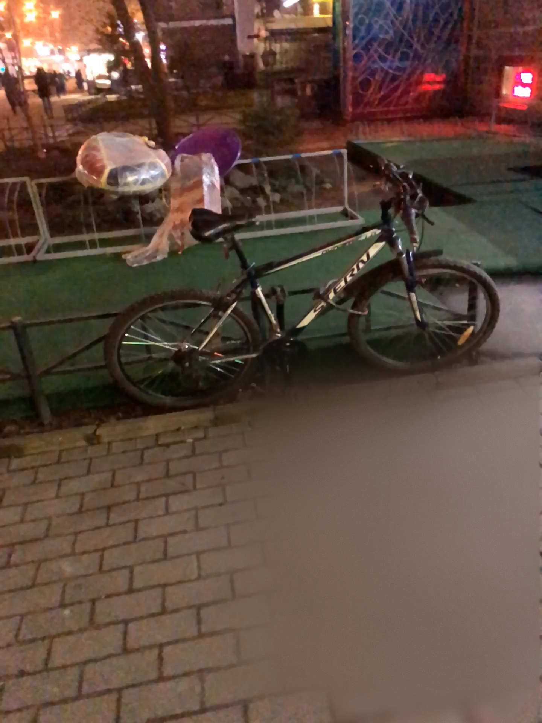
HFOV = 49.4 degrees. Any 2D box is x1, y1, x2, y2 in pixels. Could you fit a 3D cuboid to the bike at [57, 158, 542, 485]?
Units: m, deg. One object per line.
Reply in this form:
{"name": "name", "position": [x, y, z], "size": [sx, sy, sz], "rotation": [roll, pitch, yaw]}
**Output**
{"name": "bike", "position": [0.144, -0.180, 2.067], "size": [1.456, 0.883, 0.532], "rotation": [-6, 25, -7]}
